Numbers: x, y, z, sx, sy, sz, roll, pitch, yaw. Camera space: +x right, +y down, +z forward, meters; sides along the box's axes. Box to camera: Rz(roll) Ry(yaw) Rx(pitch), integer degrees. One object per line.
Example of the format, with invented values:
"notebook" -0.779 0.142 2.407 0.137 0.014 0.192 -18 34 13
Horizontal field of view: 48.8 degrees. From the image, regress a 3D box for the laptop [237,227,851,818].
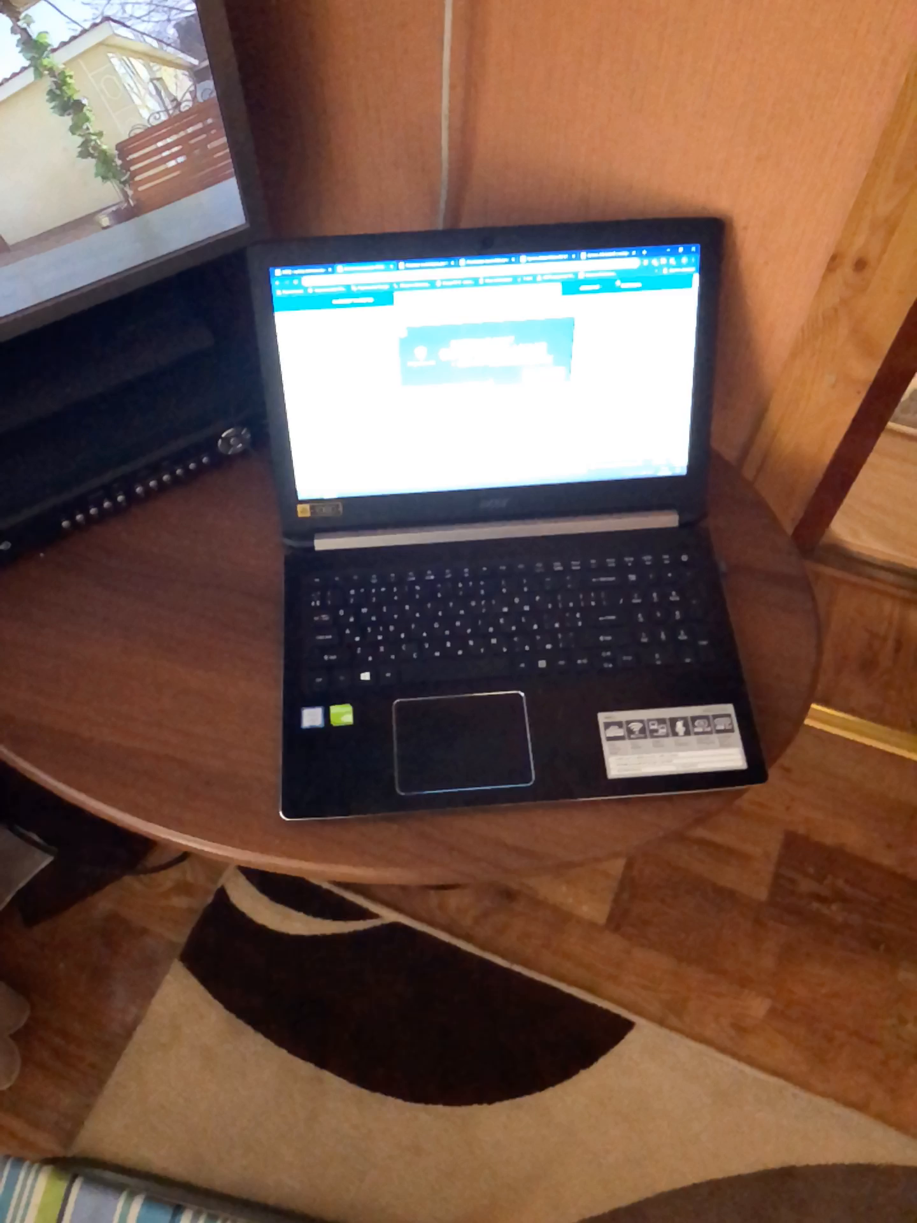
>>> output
"laptop" 0.038 -0.076 0.781 0.372 0.186 0.391 -4 61 -4
